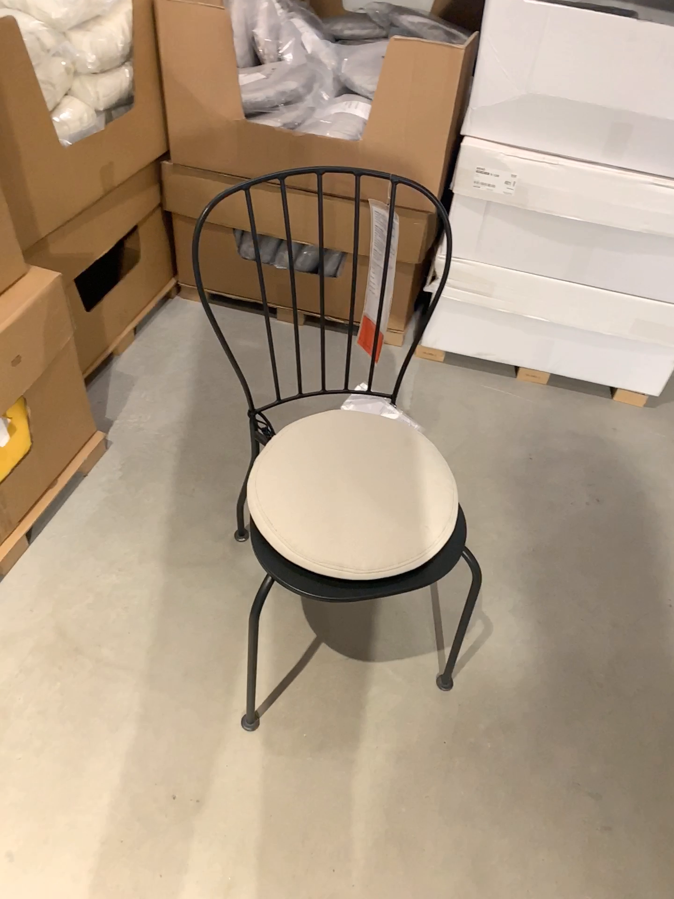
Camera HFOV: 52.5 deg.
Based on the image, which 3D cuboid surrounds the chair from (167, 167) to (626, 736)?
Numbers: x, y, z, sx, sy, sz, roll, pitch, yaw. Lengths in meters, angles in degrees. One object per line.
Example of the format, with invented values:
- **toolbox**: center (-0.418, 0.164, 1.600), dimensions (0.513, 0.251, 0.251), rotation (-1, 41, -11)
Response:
- **chair**: center (0.003, 0.032, 1.186), dimensions (0.480, 0.817, 0.522), rotation (-6, 47, -12)
